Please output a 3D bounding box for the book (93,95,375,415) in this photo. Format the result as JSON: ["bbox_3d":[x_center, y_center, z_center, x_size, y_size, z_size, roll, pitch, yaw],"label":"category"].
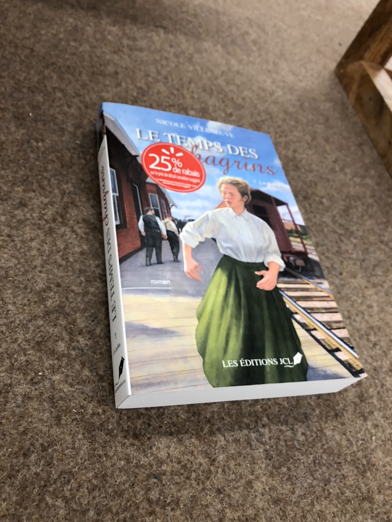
[{"bbox_3d":[0.014,-0.017,0.308,0.155,0.030,0.225,4,55,-23],"label":"book"}]
